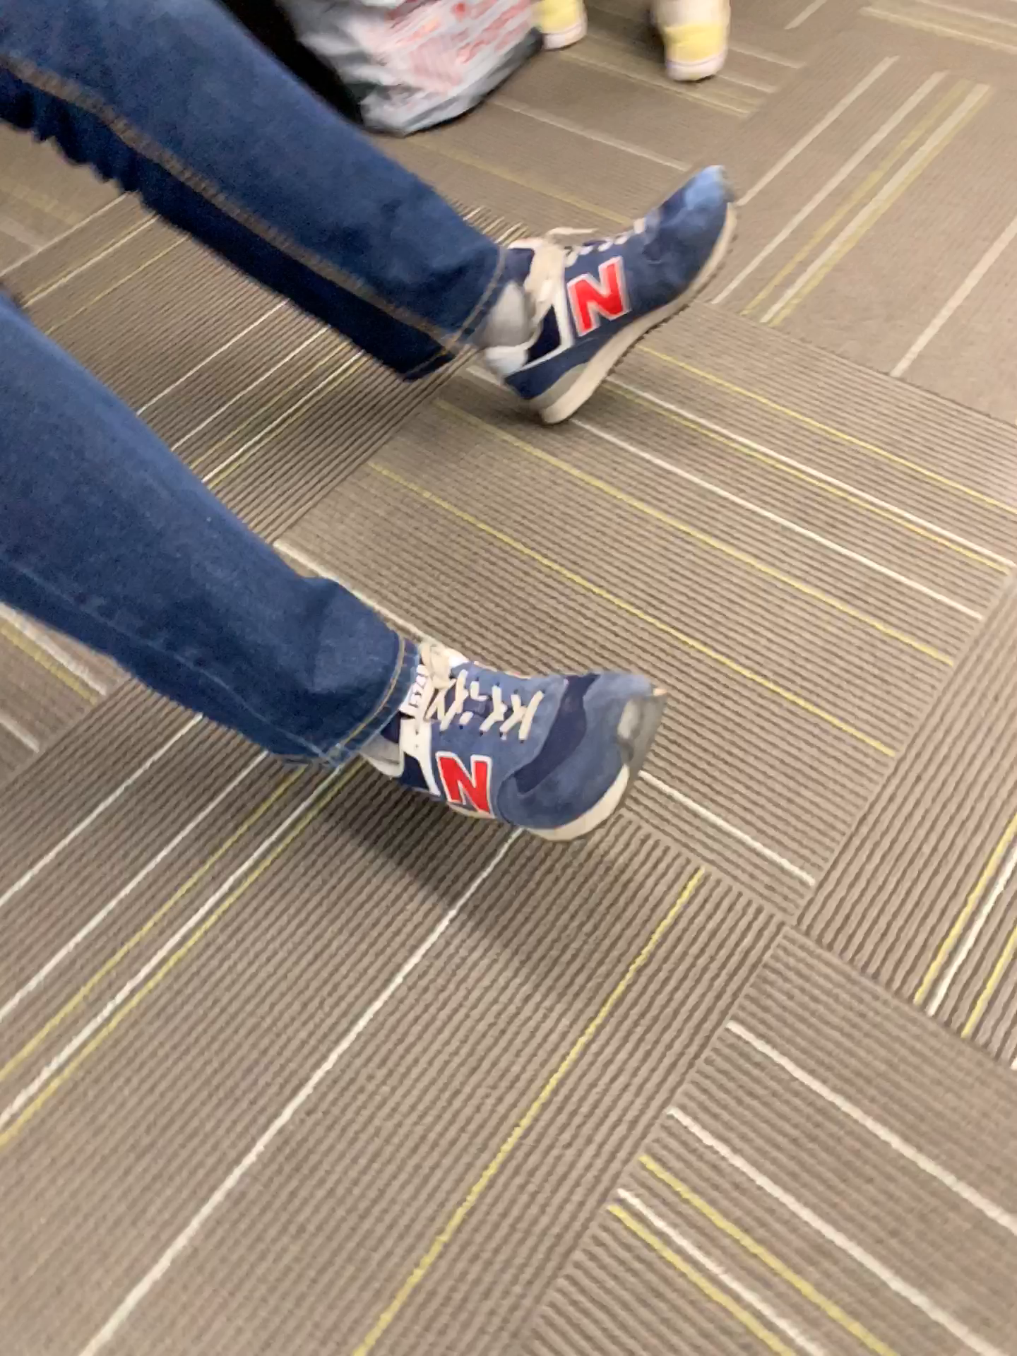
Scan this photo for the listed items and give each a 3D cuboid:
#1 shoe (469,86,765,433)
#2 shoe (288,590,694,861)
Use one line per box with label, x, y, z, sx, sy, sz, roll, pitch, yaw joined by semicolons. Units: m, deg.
shoe;0.090;-0.387;0.998;0.095;0.302;0.115;23;51;-30
shoe;-0.028;0.047;0.757;0.135;0.297;0.120;29;70;-25
